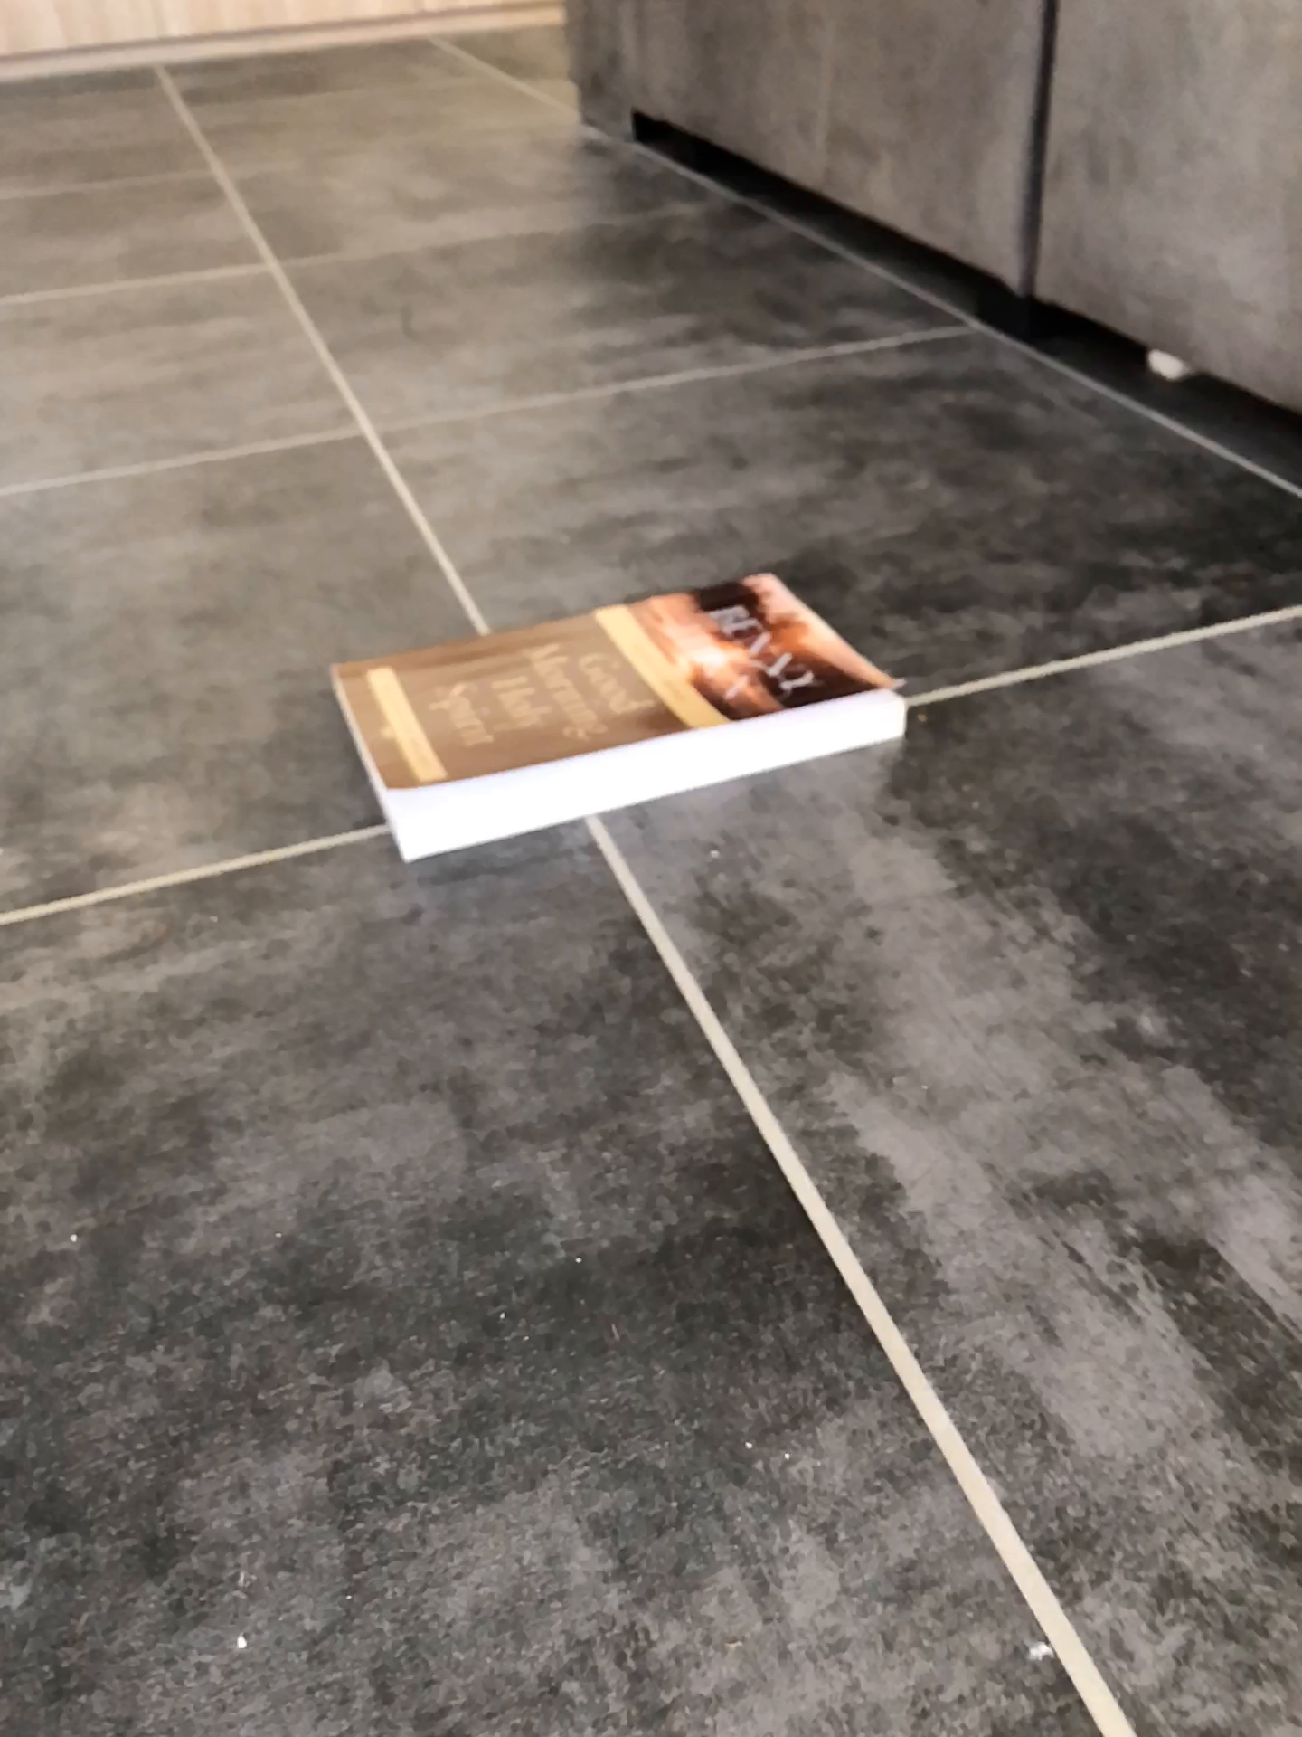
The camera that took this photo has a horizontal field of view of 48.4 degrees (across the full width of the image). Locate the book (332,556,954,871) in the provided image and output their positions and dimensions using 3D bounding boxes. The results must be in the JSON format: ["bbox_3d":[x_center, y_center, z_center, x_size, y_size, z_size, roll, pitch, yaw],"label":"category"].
[{"bbox_3d":[-0.009,-0.076,0.627,0.230,0.020,0.151,-15,37,-15],"label":"book"}]
